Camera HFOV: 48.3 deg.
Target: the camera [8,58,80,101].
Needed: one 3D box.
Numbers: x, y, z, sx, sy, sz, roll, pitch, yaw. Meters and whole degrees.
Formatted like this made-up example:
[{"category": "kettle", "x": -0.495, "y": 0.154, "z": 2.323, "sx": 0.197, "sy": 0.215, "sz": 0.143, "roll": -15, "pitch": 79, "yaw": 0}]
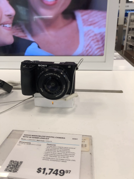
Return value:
[{"category": "camera", "x": -0.040, "y": -0.024, "z": 0.309, "sx": 0.130, "sy": 0.070, "sz": 0.060, "roll": 2, "pitch": 22, "yaw": 8}]
